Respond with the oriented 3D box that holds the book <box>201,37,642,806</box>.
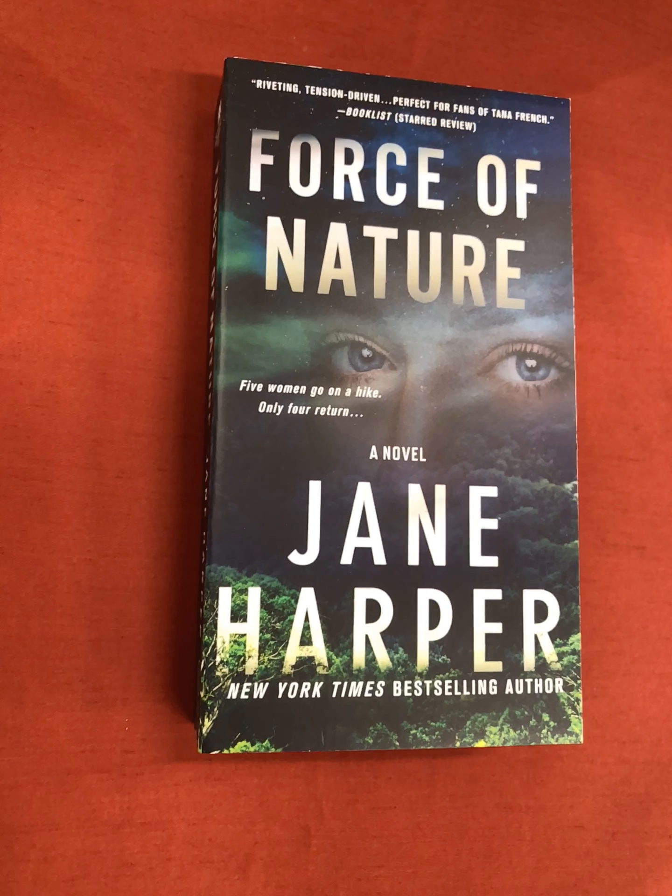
[{"bbox_3d":[0.020,-0.006,0.210,0.110,0.050,0.180,1,90,-10],"label":"book"}]
